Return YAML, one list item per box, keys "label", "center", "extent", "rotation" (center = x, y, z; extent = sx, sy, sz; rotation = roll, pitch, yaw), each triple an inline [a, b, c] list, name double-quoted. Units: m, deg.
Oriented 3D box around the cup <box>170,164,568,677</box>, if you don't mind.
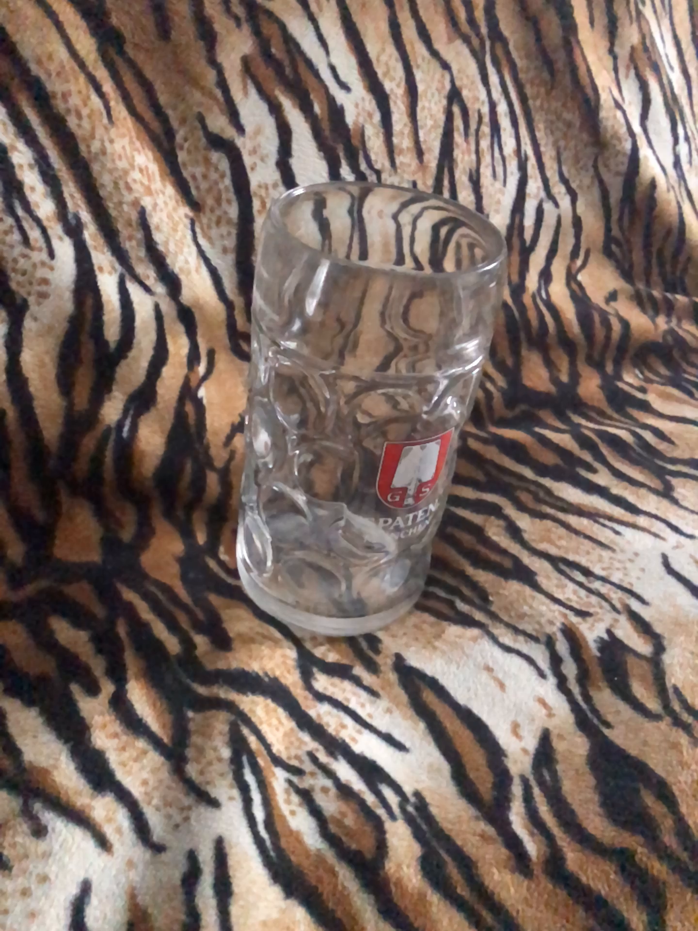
- label: "cup"
  center: [-0.005, -0.029, 0.397]
  extent: [0.121, 0.194, 0.150]
  rotation: [-14, 40, -23]
